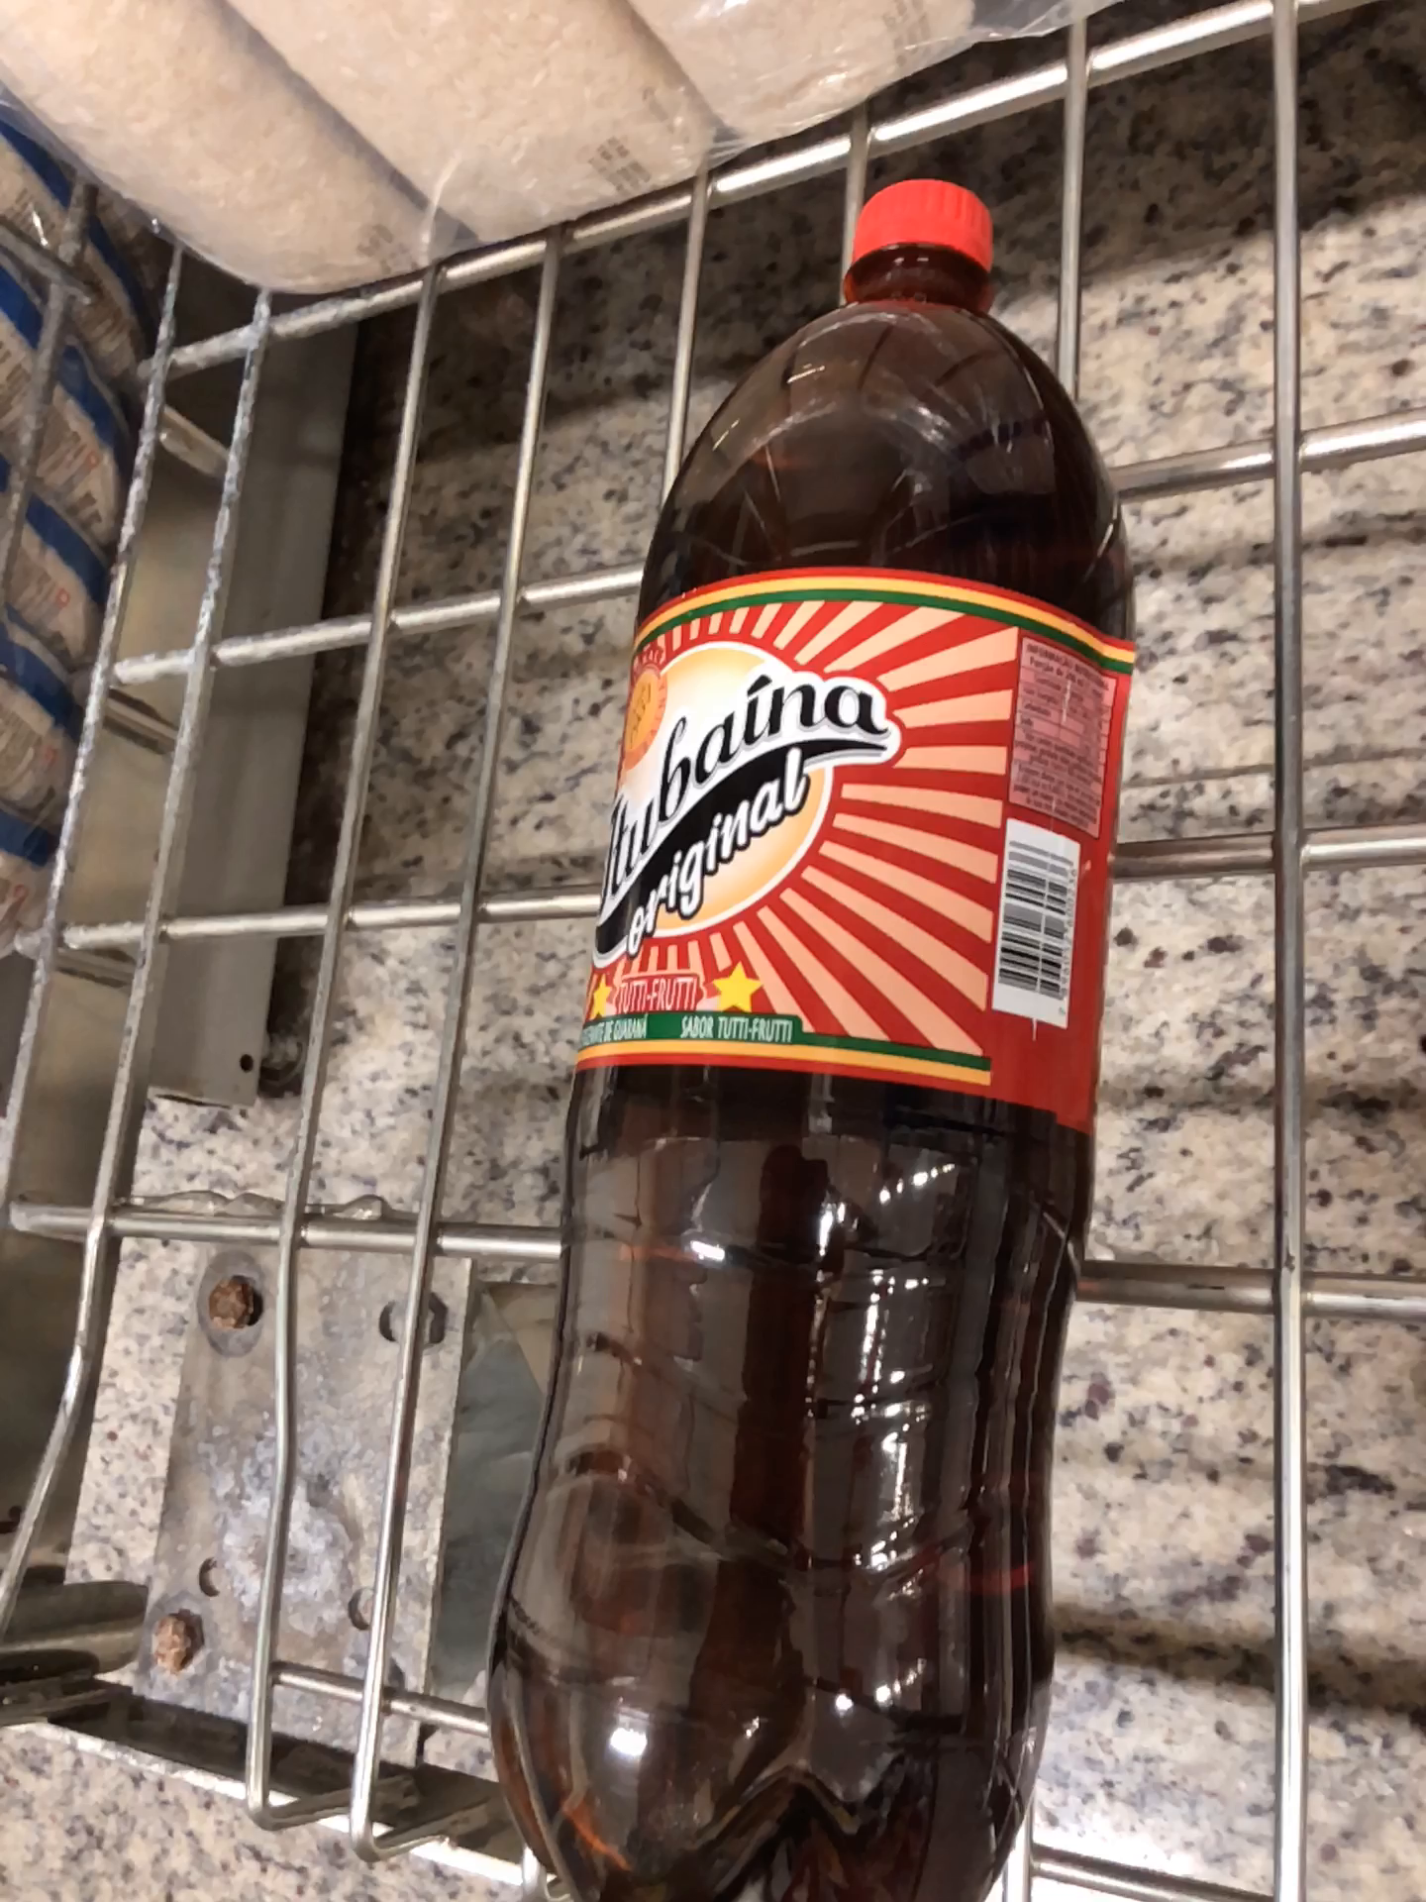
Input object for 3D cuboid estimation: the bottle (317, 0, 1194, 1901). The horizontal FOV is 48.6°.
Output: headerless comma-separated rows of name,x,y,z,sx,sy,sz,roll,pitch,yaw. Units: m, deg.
bottle,0.015,0.005,0.280,0.110,0.070,0.320,-1,79,31
